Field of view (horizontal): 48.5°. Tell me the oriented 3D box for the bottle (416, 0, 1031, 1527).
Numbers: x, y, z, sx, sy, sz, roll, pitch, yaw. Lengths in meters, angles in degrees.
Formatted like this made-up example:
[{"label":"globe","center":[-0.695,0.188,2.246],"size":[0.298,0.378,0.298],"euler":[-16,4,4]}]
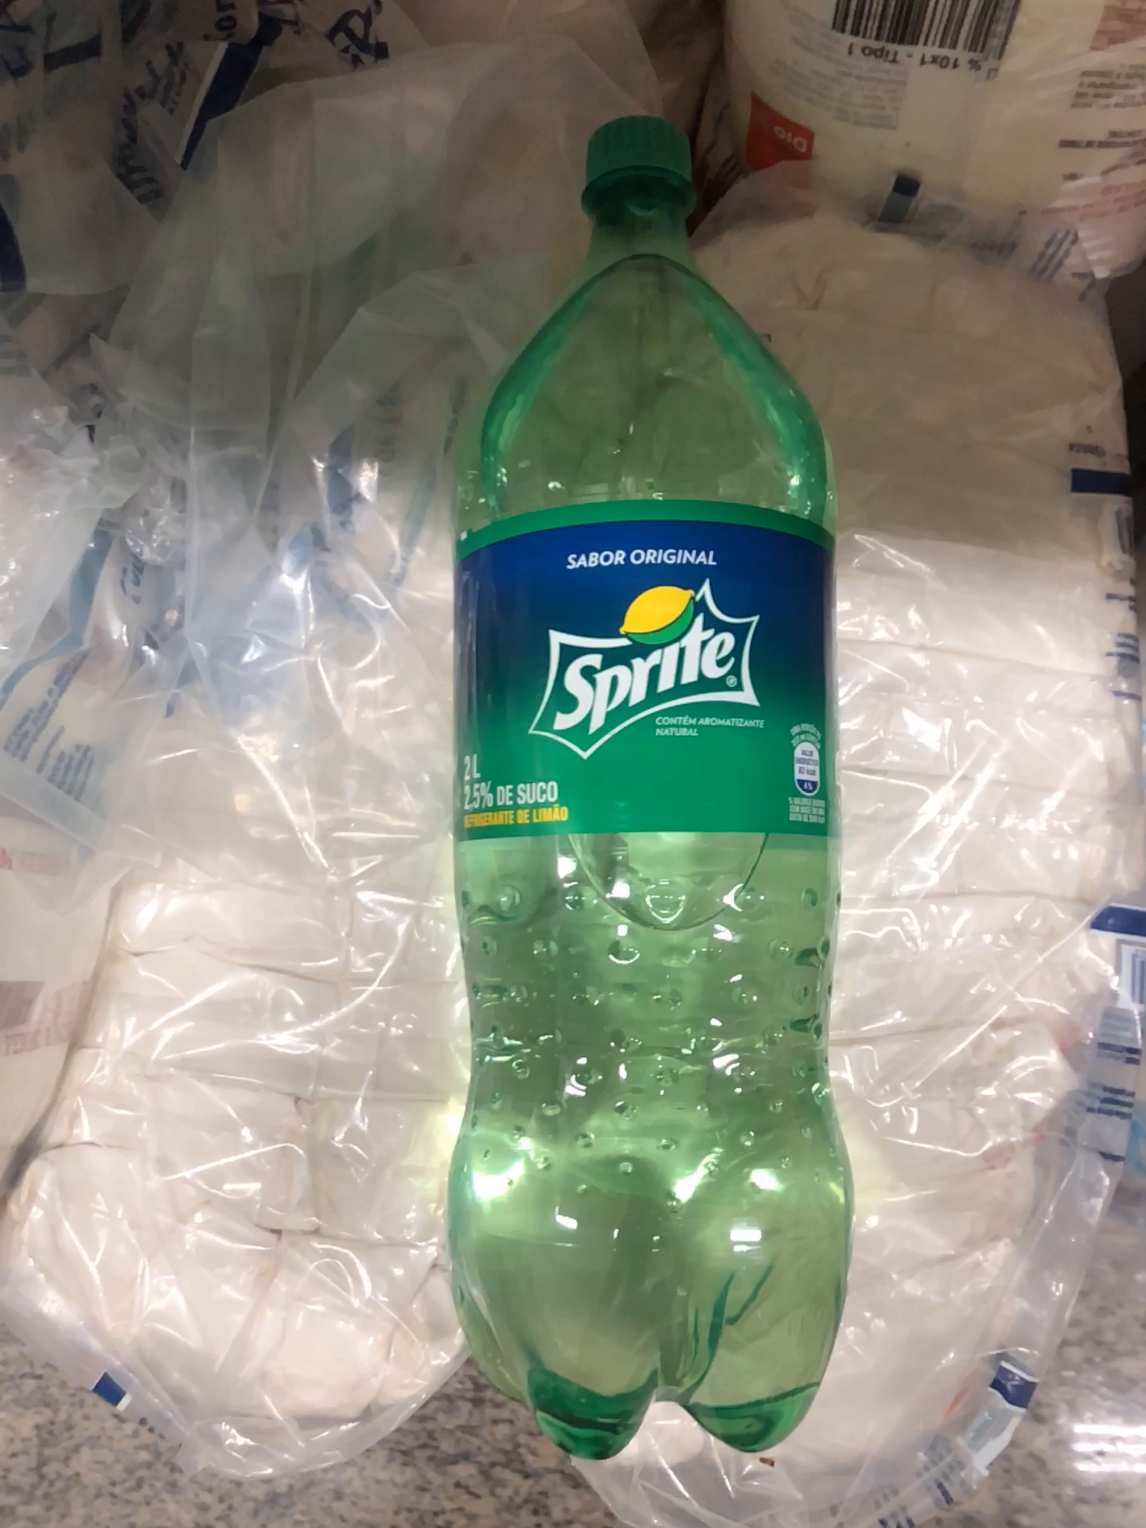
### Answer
[{"label":"bottle","center":[0.020,-0.034,0.330],"size":[0.110,0.110,0.381],"euler":[0,74,-3]}]
